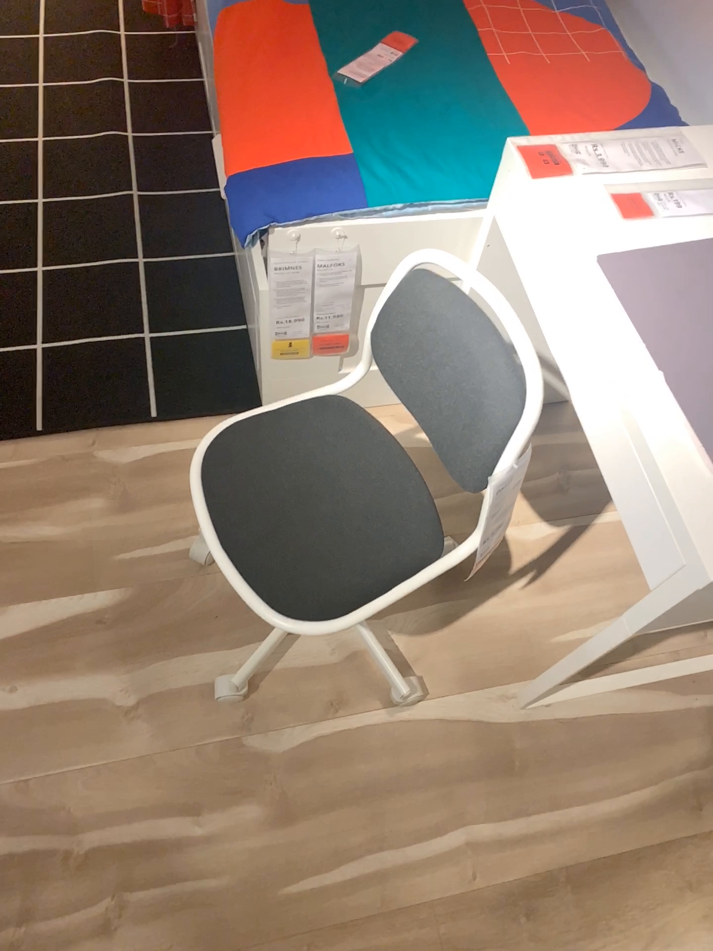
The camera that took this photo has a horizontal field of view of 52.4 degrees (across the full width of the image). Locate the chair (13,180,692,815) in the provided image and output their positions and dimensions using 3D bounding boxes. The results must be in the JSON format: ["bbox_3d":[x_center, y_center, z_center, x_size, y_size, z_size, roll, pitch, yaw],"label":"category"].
[{"bbox_3d":[-0.040,0.066,1.121,0.590,0.629,0.571,-25,66,-18],"label":"chair"}]
